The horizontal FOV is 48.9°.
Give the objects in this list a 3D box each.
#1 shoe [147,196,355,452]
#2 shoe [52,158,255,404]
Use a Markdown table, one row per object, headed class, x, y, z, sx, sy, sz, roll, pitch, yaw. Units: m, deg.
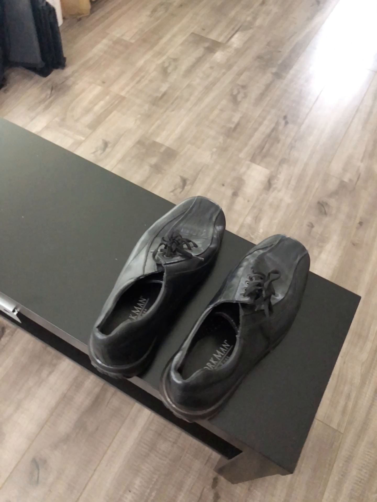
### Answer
| class | x | y | z | sx | sy | sz | roll | pitch | yaw |
| --- | --- | --- | --- | --- | --- | --- | --- | --- | --- |
| shoe | 0.081 | 0.082 | 0.519 | 0.110 | 0.110 | 0.286 | 32 | 61 | 15 |
| shoe | -0.031 | 0.028 | 0.535 | 0.110 | 0.110 | 0.283 | 26 | 60 | 11 |
